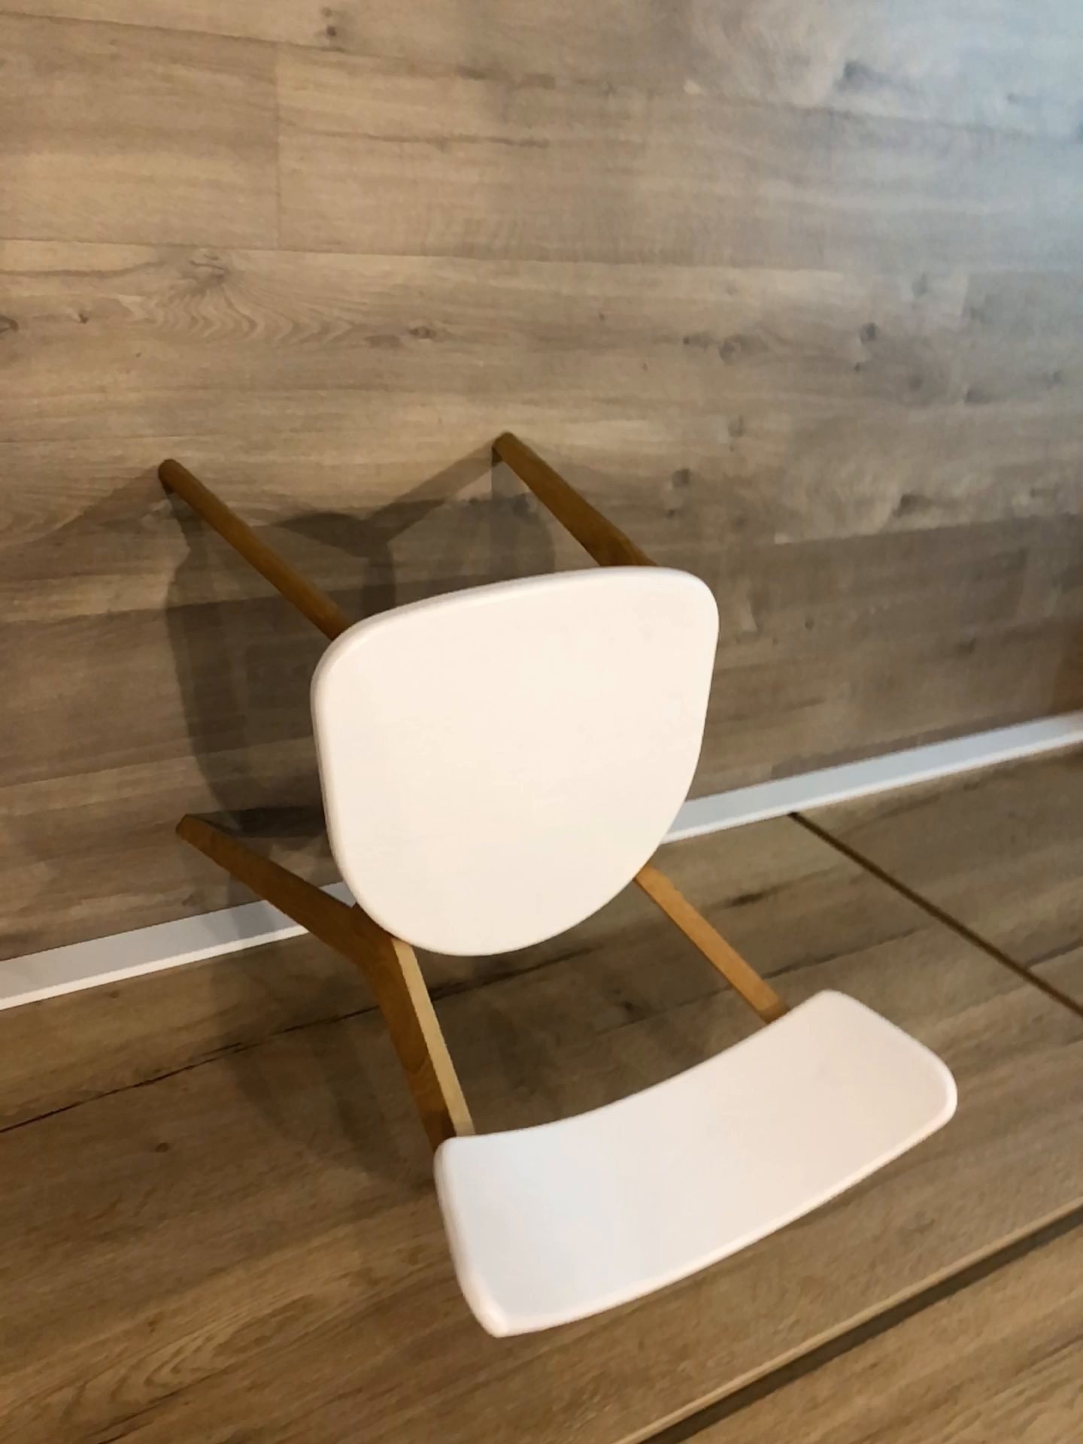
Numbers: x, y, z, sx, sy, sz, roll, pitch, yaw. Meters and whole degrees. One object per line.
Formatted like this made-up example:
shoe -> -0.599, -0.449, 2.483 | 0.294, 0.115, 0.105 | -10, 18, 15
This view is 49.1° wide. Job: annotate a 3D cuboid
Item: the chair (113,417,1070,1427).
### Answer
chair -> -0.041, 0.064, 1.184 | 0.501, 0.827, 0.531 | -14, 119, -27
